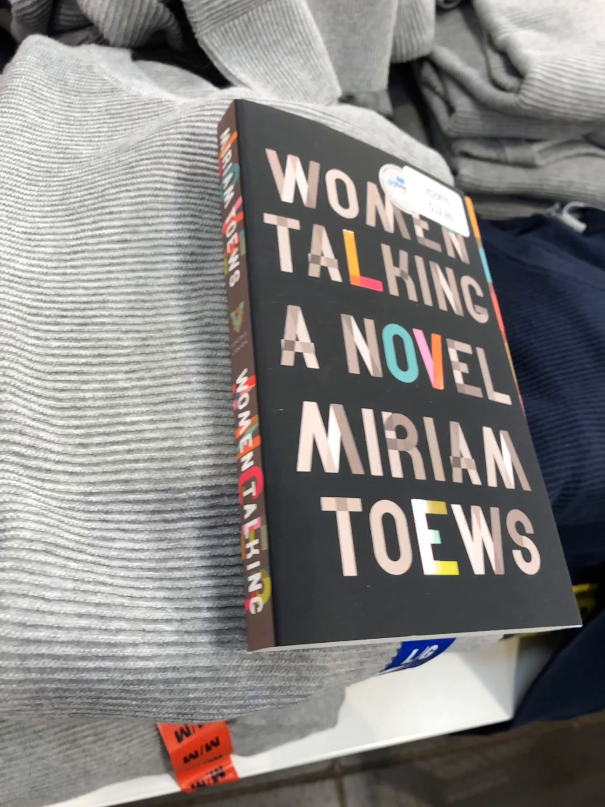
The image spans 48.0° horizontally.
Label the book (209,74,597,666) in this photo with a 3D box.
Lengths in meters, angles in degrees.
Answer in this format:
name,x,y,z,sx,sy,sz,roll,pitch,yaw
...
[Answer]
name,x,y,z,sx,sy,sz,roll,pitch,yaw
book,0.035,-0.017,0.262,0.135,0.020,0.211,8,63,-31
